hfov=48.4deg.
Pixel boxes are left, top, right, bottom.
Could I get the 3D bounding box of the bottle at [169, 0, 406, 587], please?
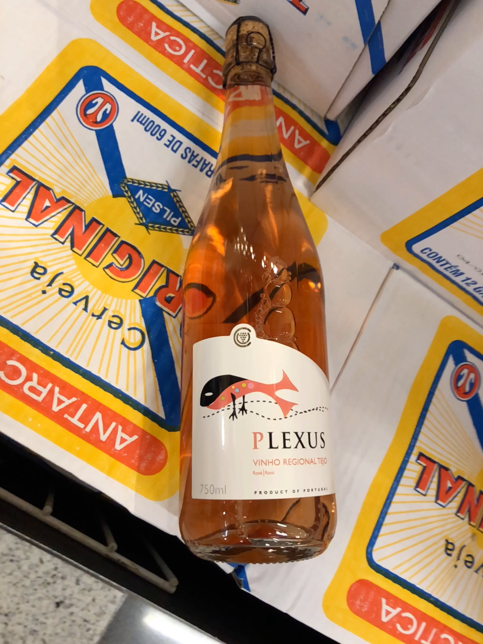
[{"bbox_3d":[0.016,-0.031,0.281,0.090,0.070,0.290,4,76,-17],"label":"bottle"}]
